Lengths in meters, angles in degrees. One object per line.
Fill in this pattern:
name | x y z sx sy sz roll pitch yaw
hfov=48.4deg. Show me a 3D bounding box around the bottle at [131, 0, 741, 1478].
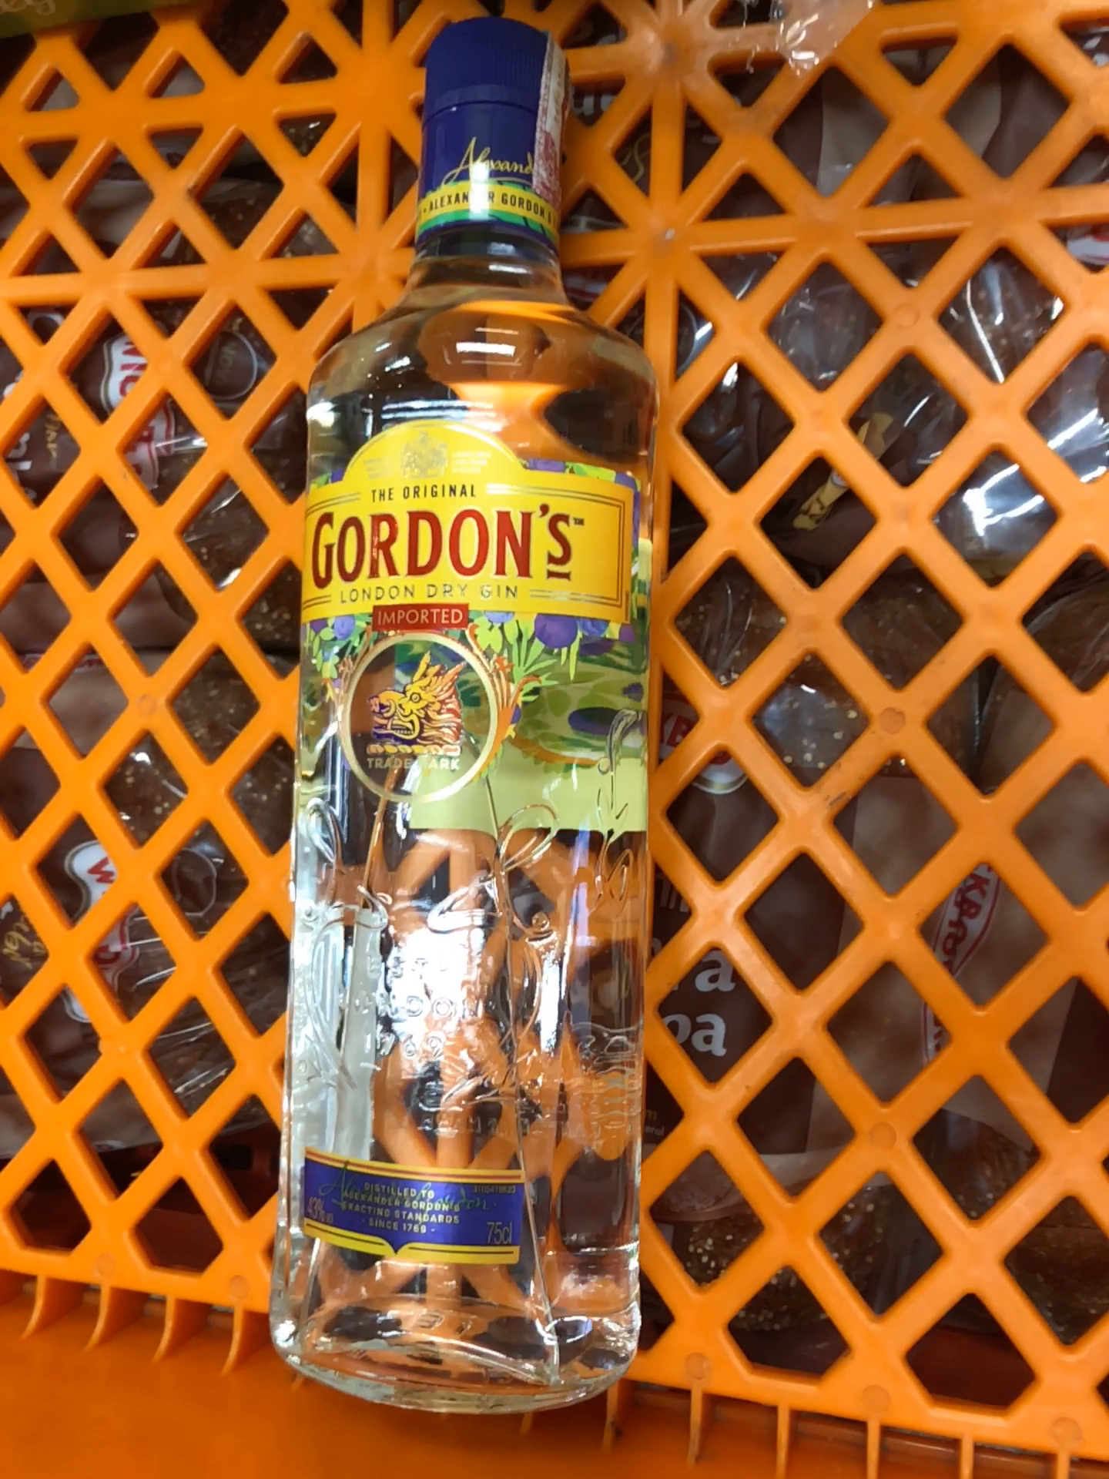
bottle | -0.017 -0.023 0.274 0.100 0.100 0.310 1 89 13
